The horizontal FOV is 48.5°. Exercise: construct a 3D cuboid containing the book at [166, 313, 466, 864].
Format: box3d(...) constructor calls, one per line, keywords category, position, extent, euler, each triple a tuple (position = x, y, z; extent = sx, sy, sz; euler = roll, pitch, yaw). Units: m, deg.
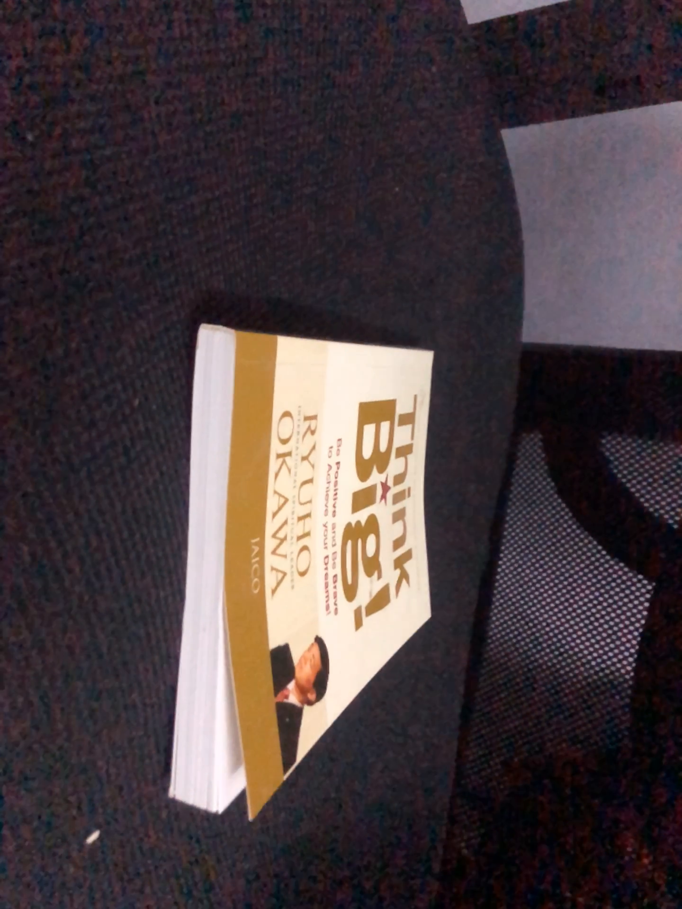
box3d(category="book", position=(0.006, 0.024, 0.274), extent=(0.191, 0.026, 0.137), euler=(-16, 108, -66))
